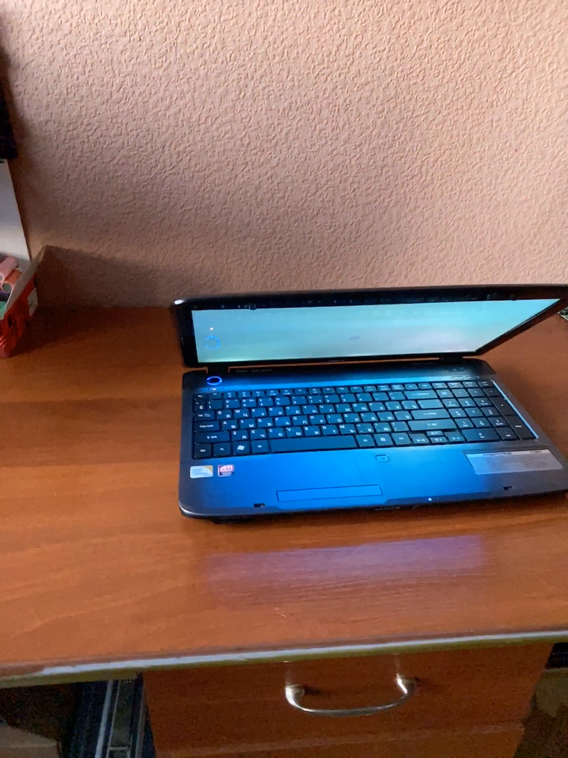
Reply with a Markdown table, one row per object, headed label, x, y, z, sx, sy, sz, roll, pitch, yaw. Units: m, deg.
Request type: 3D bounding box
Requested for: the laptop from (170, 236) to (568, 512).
| label | x | y | z | sx | sy | sz | roll | pitch | yaw |
| --- | --- | --- | --- | --- | --- | --- | --- | --- | --- |
| laptop | 0.086 | -0.025 | 0.599 | 0.380 | 0.162 | 0.242 | -3 | 31 | -6 |
